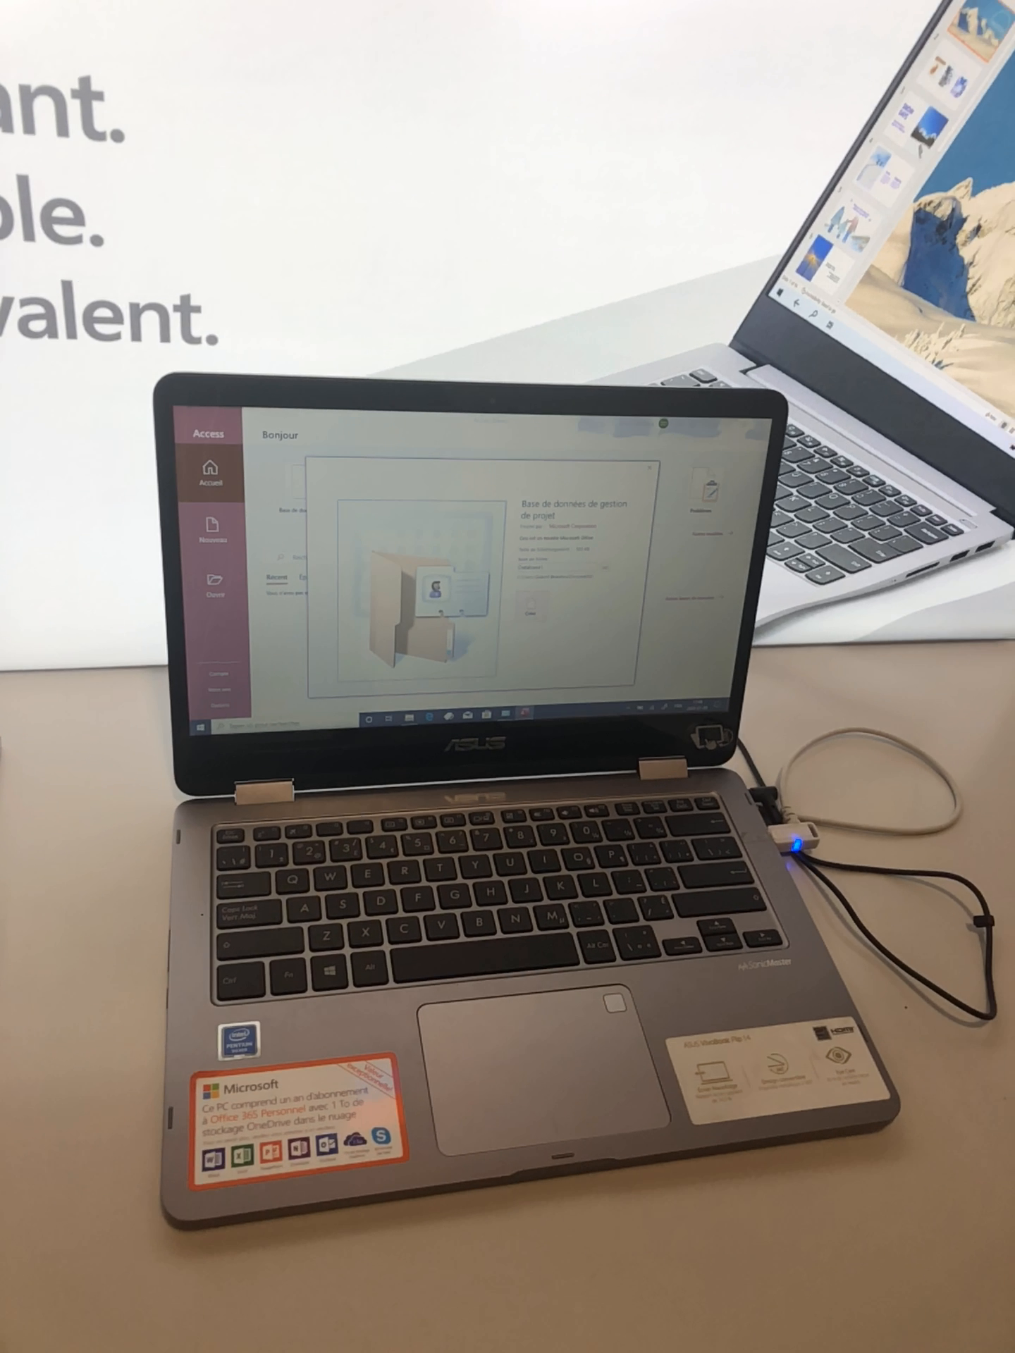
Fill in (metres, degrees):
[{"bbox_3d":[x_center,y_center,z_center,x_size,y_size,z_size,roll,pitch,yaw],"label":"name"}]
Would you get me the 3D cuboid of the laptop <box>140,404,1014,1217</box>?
[{"bbox_3d":[0.011,0.036,0.507,0.311,0.214,0.273,-2,39,-14],"label":"laptop"}]
